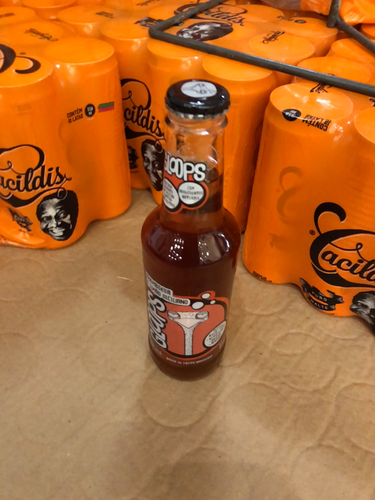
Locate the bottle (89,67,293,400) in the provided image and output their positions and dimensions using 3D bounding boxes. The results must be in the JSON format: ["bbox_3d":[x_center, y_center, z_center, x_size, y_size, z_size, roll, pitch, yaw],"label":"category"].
[{"bbox_3d":[0.002,0.008,0.234,0.070,0.189,0.050,14,46,12],"label":"bottle"}]
